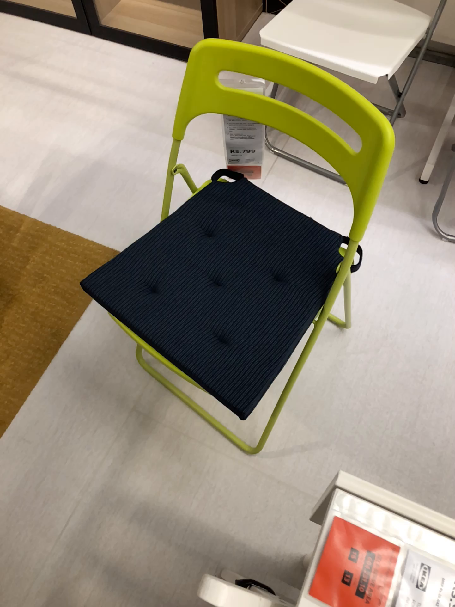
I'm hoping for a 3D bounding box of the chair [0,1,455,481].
[{"bbox_3d":[0.003,-0.063,0.952,0.491,0.637,0.461,34,69,20],"label":"chair"}]
